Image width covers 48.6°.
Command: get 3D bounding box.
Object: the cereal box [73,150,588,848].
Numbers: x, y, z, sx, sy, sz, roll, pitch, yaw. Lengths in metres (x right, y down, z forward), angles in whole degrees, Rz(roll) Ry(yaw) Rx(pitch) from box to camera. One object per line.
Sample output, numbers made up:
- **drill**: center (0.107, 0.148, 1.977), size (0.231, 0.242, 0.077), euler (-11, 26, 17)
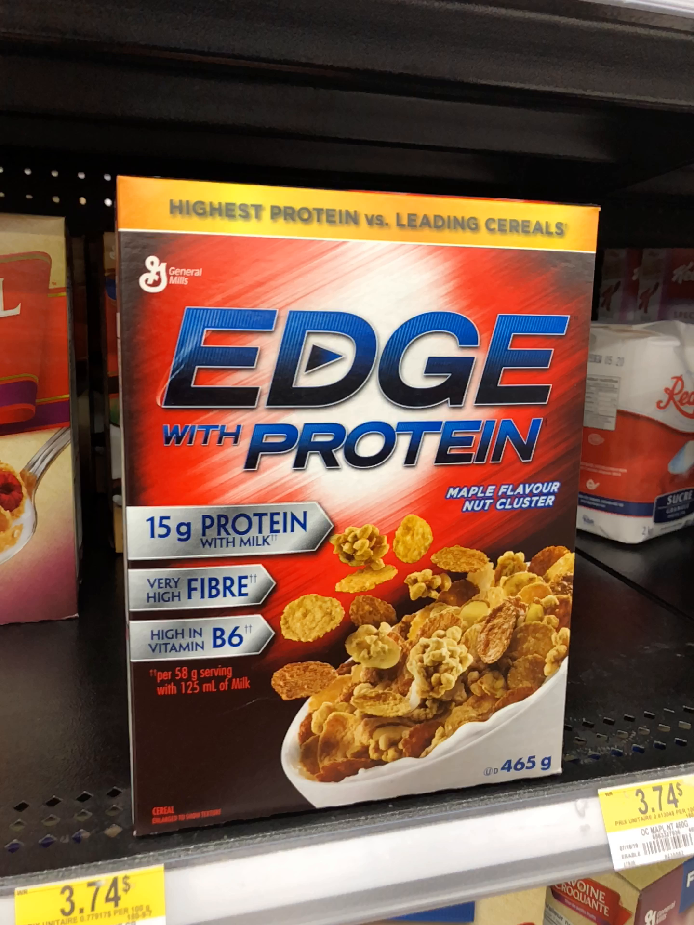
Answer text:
- **cereal box**: center (-0.008, 0.016, 0.342), size (0.200, 0.269, 0.060), euler (-1, 10, -14)
